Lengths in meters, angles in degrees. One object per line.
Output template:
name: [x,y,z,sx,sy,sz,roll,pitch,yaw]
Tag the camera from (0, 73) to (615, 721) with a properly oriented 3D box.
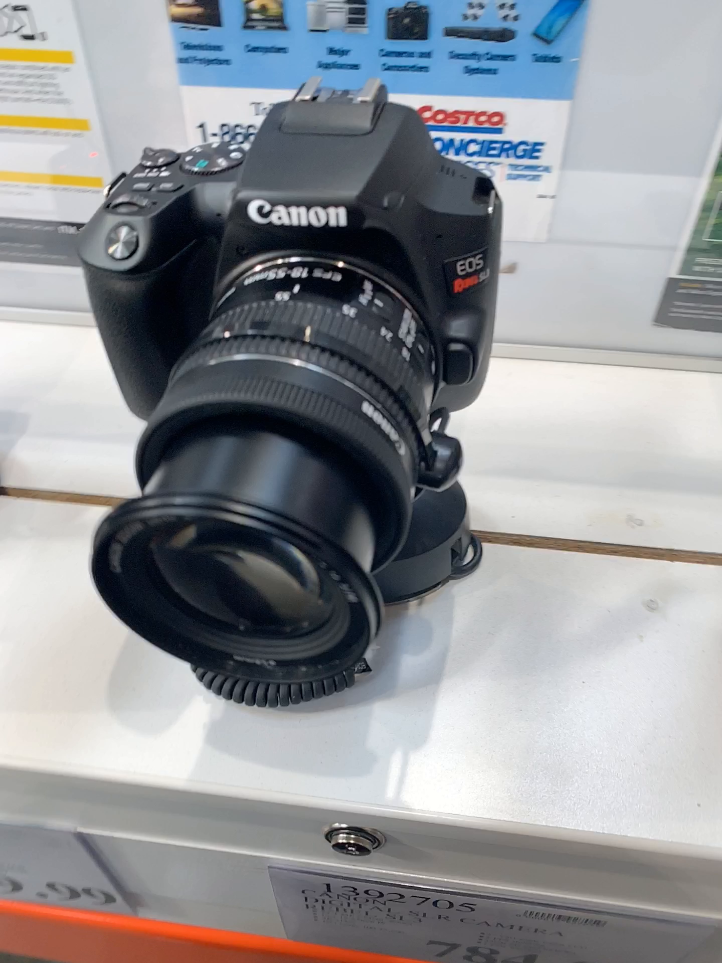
camera: [-0.018,-0.032,0.181,0.119,0.079,0.141,4,45,5]
